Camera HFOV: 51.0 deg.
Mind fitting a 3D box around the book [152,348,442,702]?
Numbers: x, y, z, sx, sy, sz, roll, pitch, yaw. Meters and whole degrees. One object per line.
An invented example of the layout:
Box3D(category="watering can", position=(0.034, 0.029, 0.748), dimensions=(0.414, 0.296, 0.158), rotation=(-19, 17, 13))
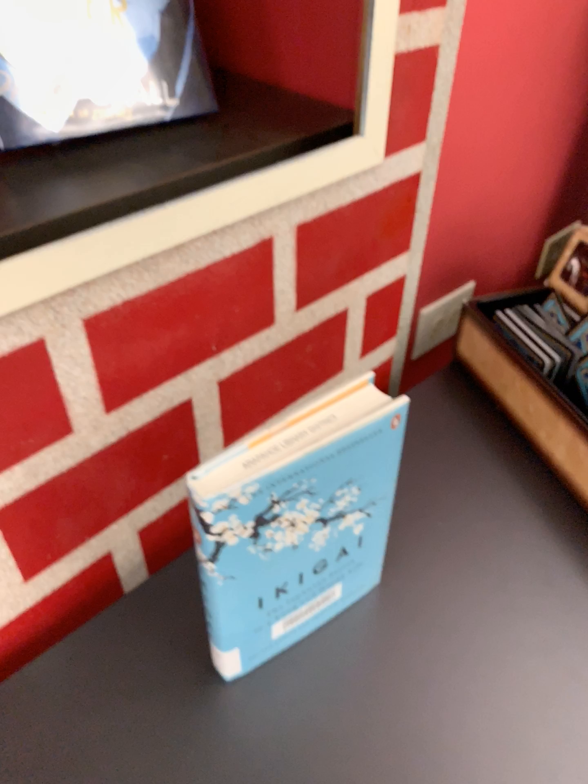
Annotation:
Box3D(category="book", position=(0.004, 0.087, 0.377), dimensions=(0.150, 0.199, 0.040), rotation=(-23, 47, -26))
